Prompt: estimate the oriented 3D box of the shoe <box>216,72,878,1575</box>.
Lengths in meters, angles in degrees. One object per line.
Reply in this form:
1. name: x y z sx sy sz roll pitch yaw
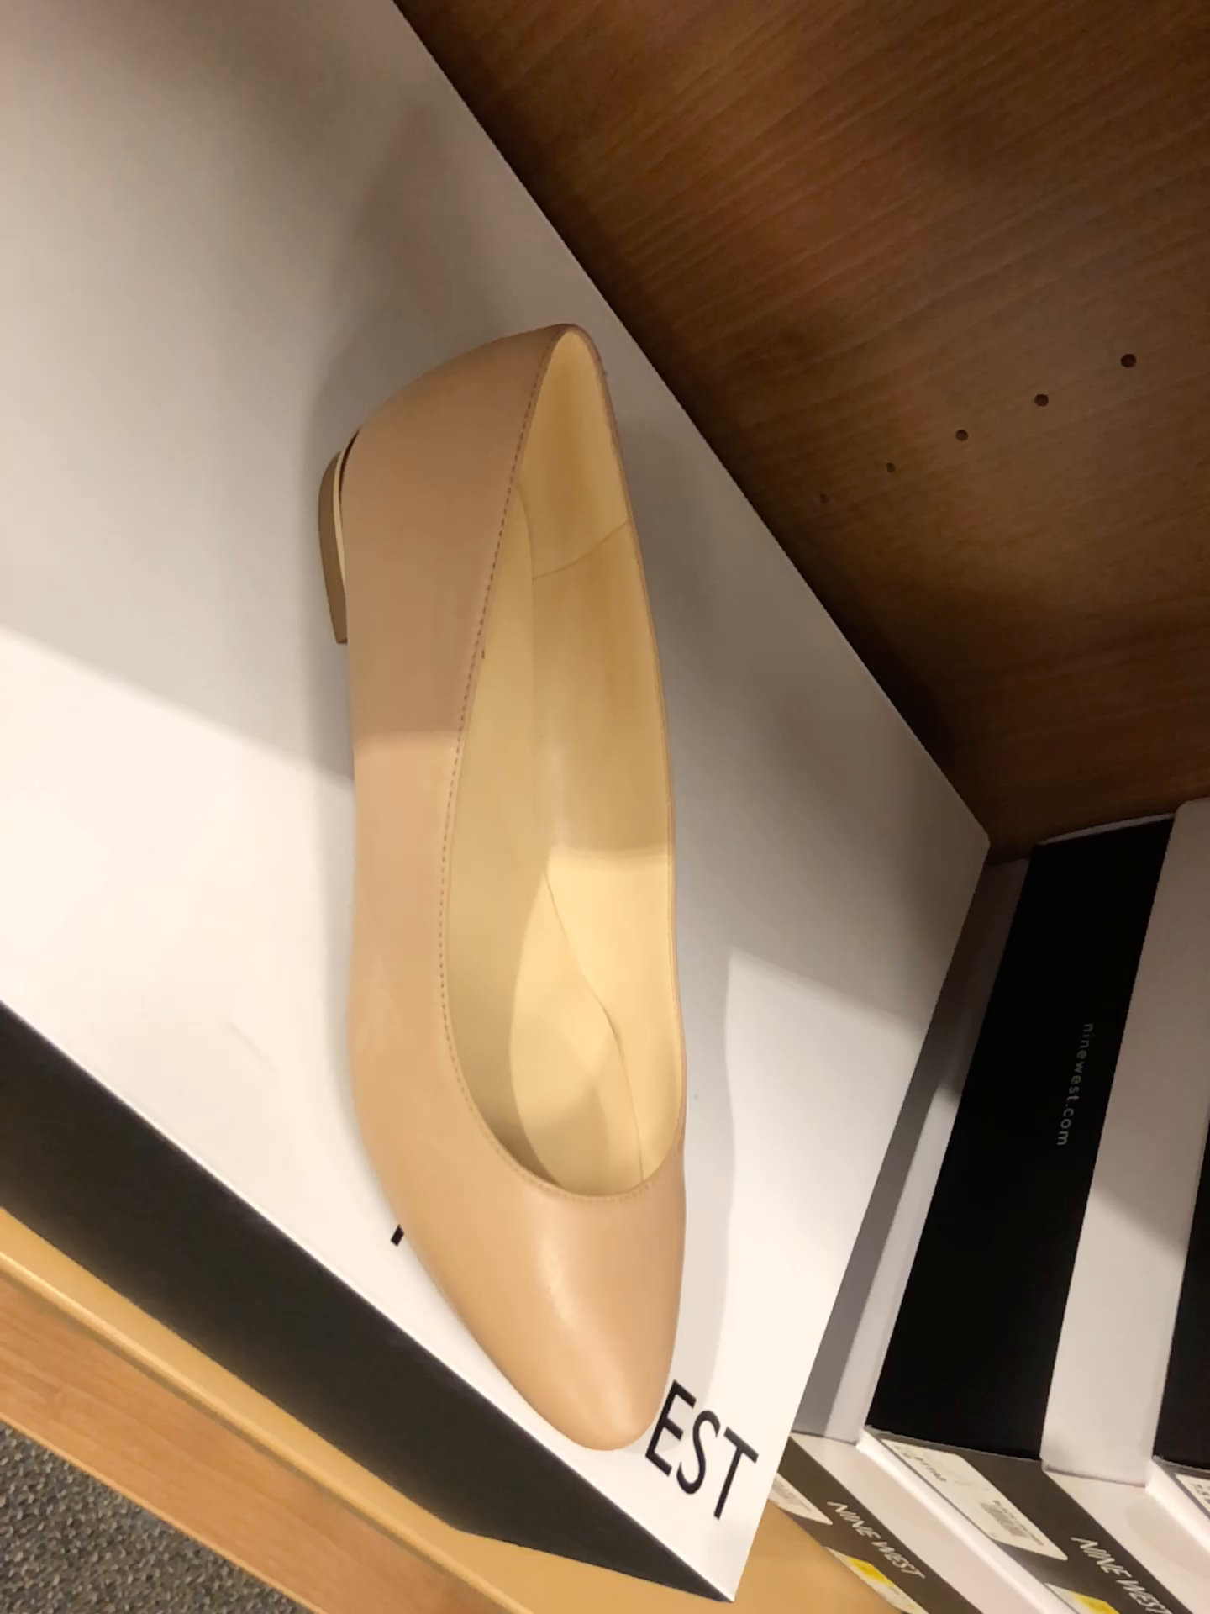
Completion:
1. shoe: -0.012 0.002 0.292 0.082 0.070 0.270 -8 89 -43
